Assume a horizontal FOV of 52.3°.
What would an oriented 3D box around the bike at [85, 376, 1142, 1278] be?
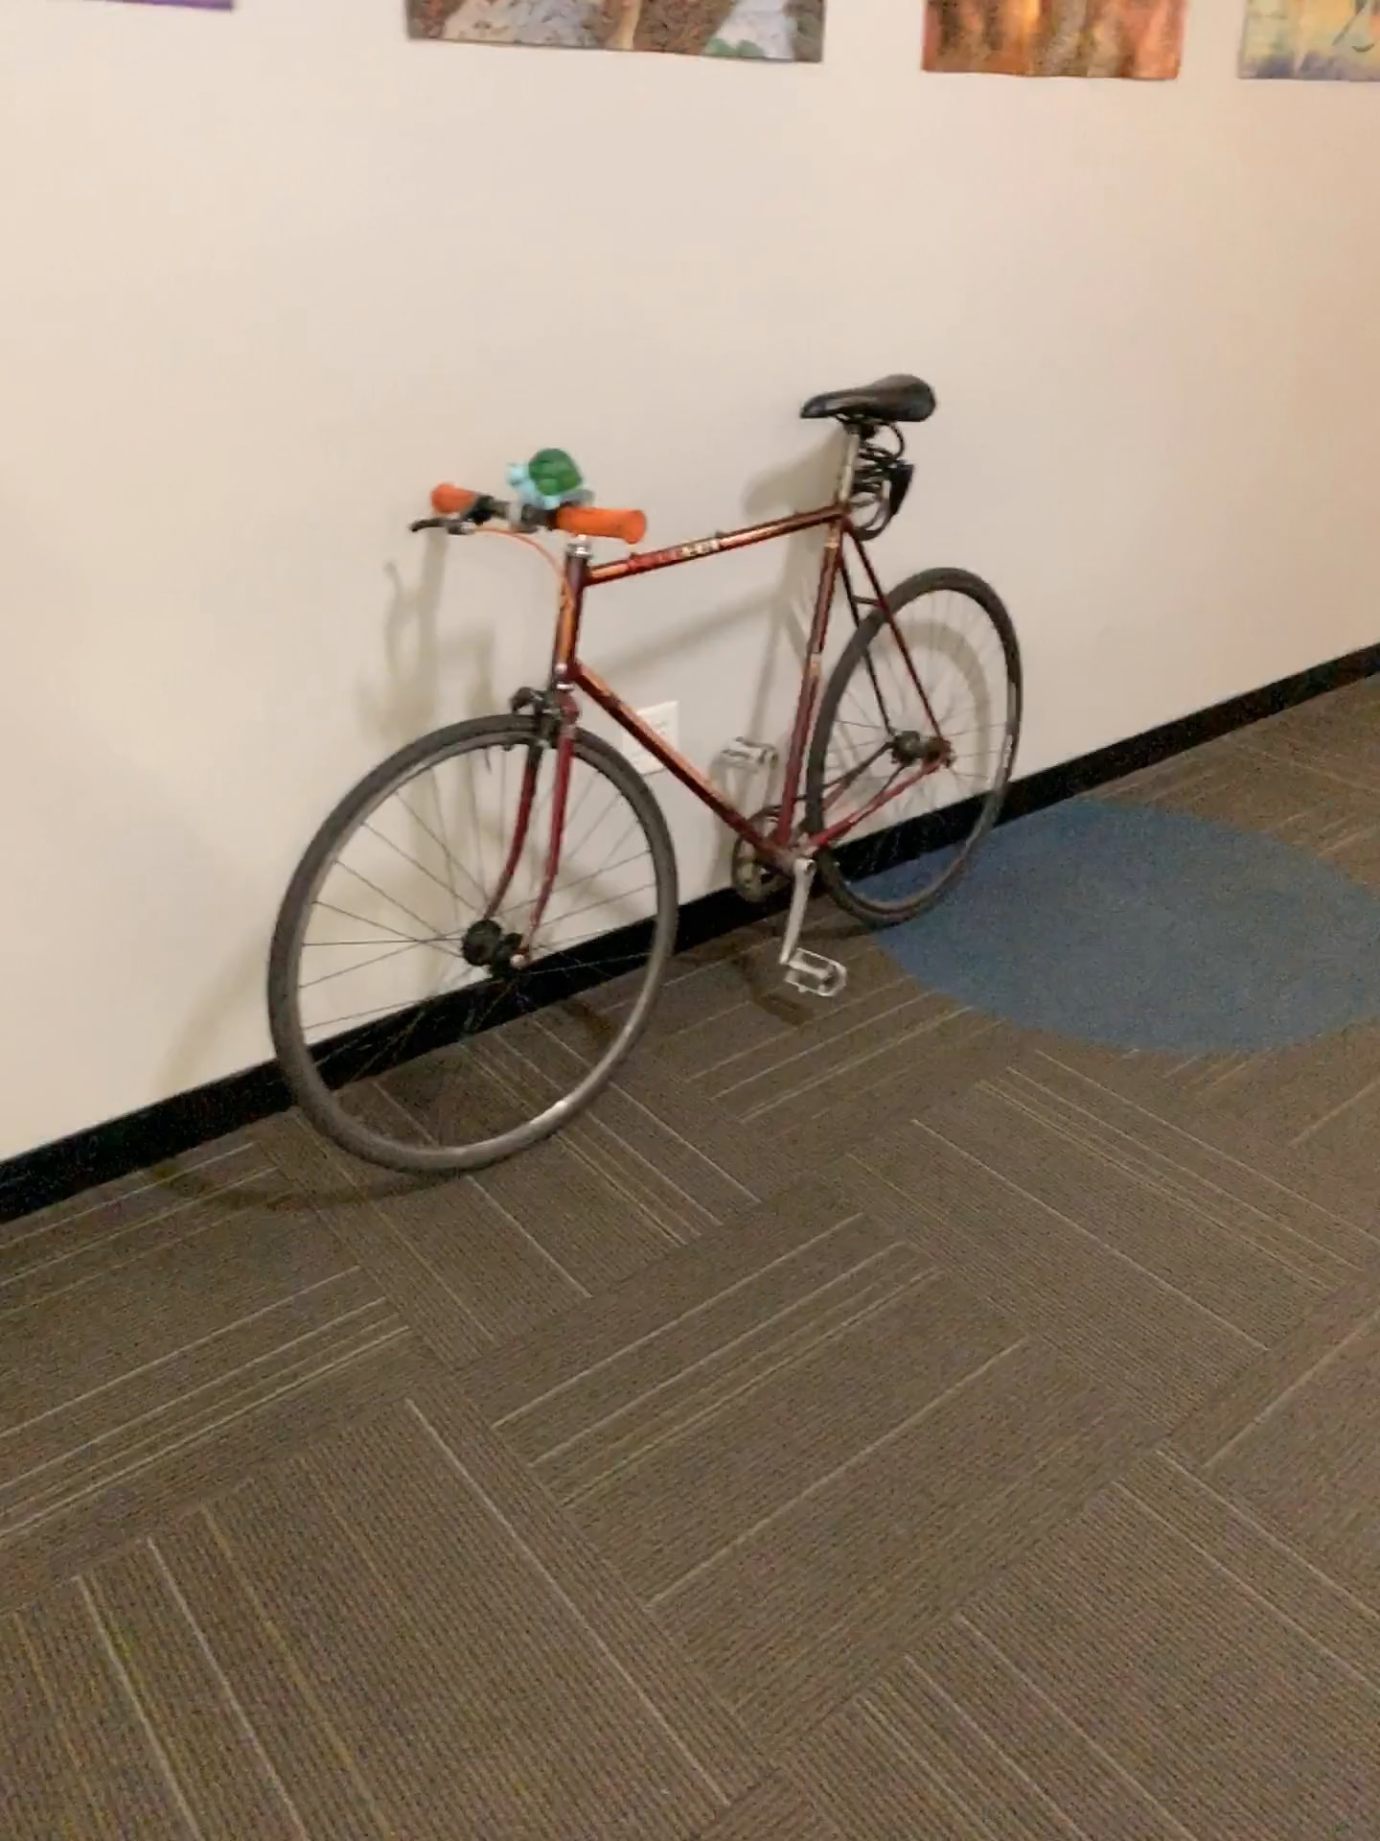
[{"bbox_3d":[0.030,-0.286,2.234,0.450,0.909,1.629,25,37,38],"label":"bike"}]
